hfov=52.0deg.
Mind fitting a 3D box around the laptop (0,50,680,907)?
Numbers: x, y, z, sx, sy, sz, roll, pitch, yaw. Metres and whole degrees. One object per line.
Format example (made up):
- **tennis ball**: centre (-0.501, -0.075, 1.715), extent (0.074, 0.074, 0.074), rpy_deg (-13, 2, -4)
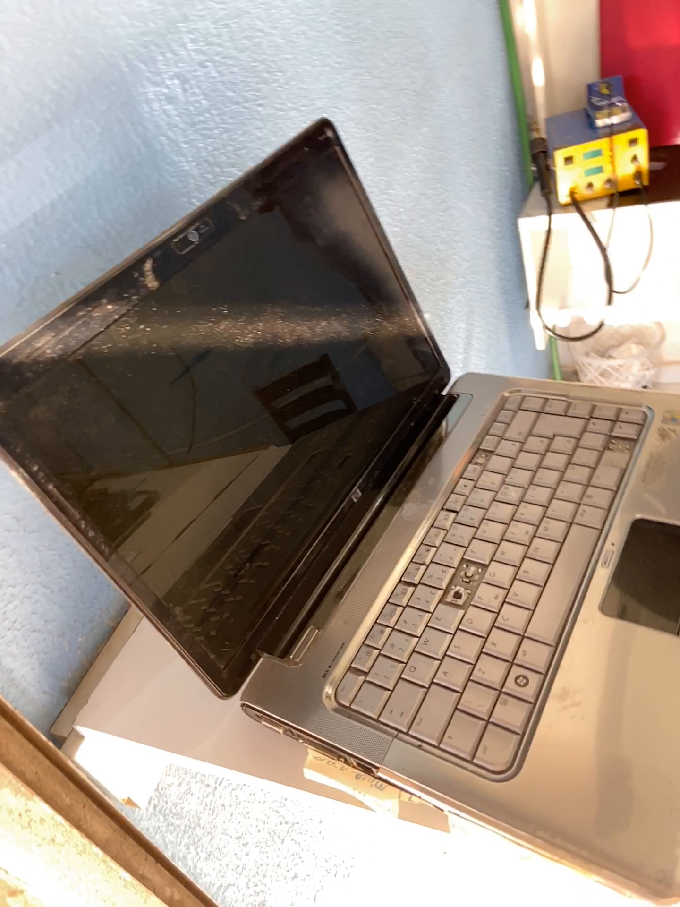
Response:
- **laptop**: centre (0.062, -0.034, 0.419), extent (0.328, 0.233, 0.353), rpy_deg (9, 45, 34)
